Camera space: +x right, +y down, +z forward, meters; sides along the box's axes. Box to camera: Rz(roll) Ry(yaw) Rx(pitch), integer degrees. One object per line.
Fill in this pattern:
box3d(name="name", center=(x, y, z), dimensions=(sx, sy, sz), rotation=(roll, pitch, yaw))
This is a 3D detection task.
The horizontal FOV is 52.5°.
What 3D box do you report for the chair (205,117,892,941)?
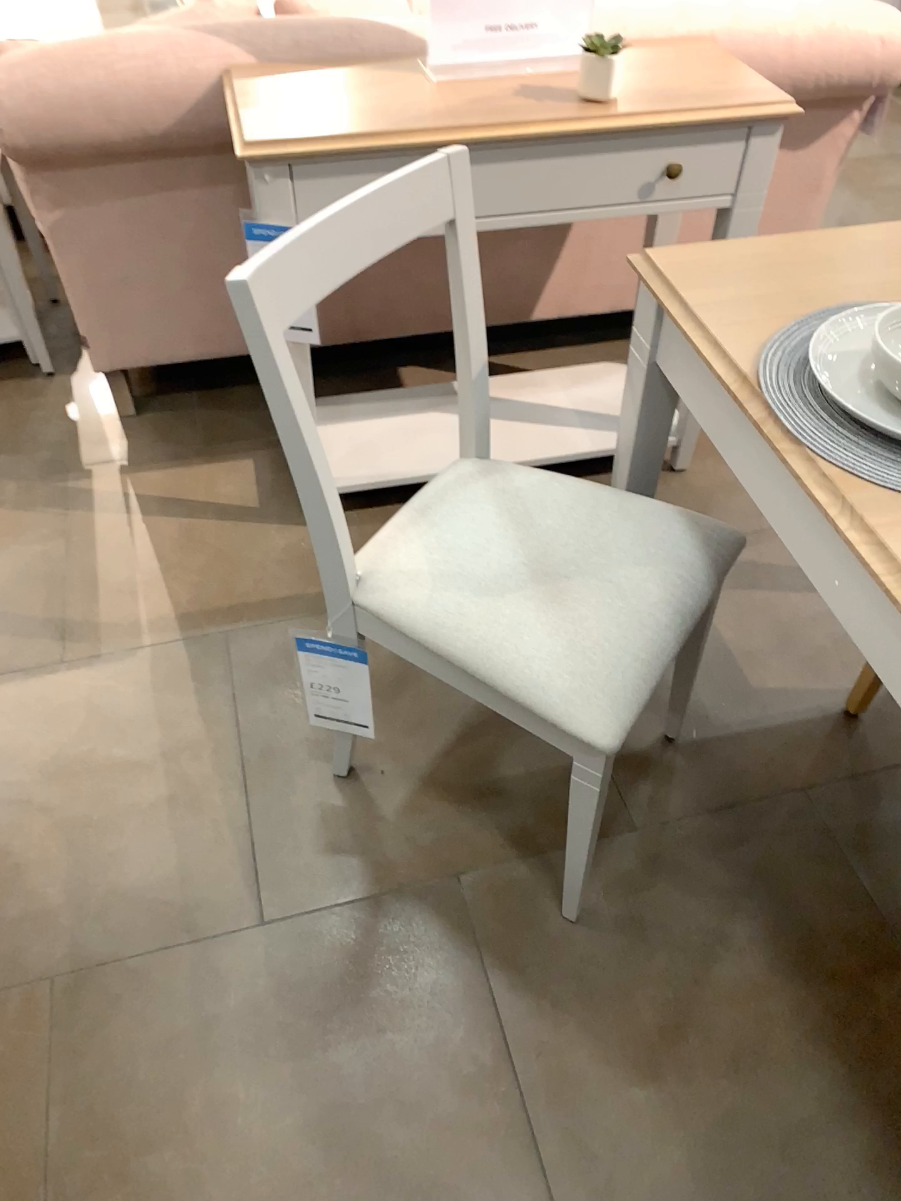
box3d(name="chair", center=(0.106, -0.065, 1.190), dimensions=(0.509, 0.832, 0.464), rotation=(26, 51, 23))
